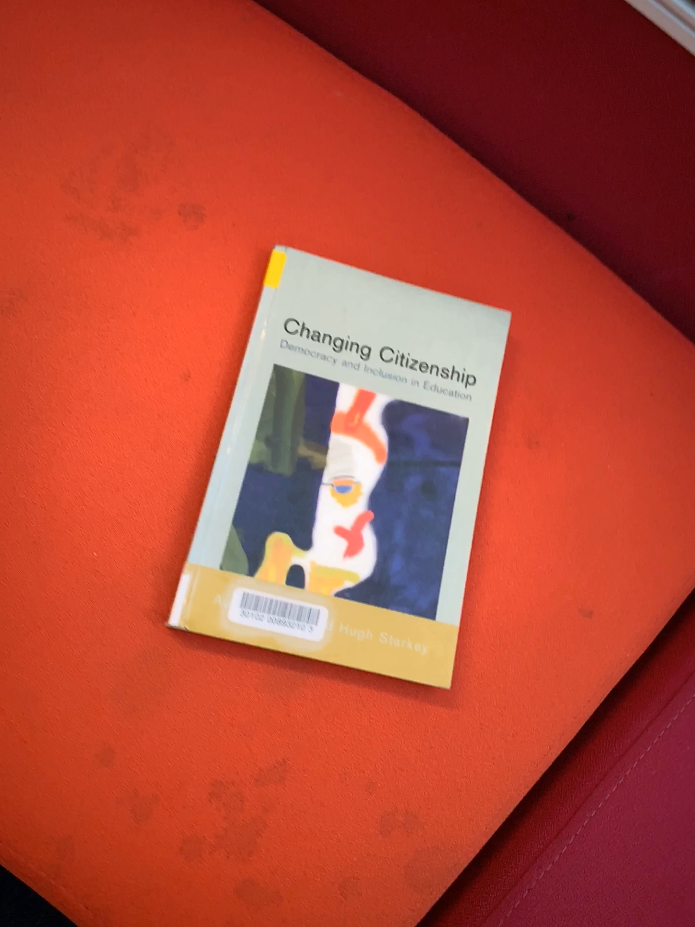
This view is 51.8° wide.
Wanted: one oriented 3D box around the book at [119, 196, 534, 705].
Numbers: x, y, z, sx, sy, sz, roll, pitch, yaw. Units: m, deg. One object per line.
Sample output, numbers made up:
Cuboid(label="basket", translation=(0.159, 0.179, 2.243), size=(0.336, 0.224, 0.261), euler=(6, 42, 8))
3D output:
Cuboid(label="book", translation=(-0.002, -0.011, 0.412), size=(0.180, 0.040, 0.251), euler=(15, 73, -7))
